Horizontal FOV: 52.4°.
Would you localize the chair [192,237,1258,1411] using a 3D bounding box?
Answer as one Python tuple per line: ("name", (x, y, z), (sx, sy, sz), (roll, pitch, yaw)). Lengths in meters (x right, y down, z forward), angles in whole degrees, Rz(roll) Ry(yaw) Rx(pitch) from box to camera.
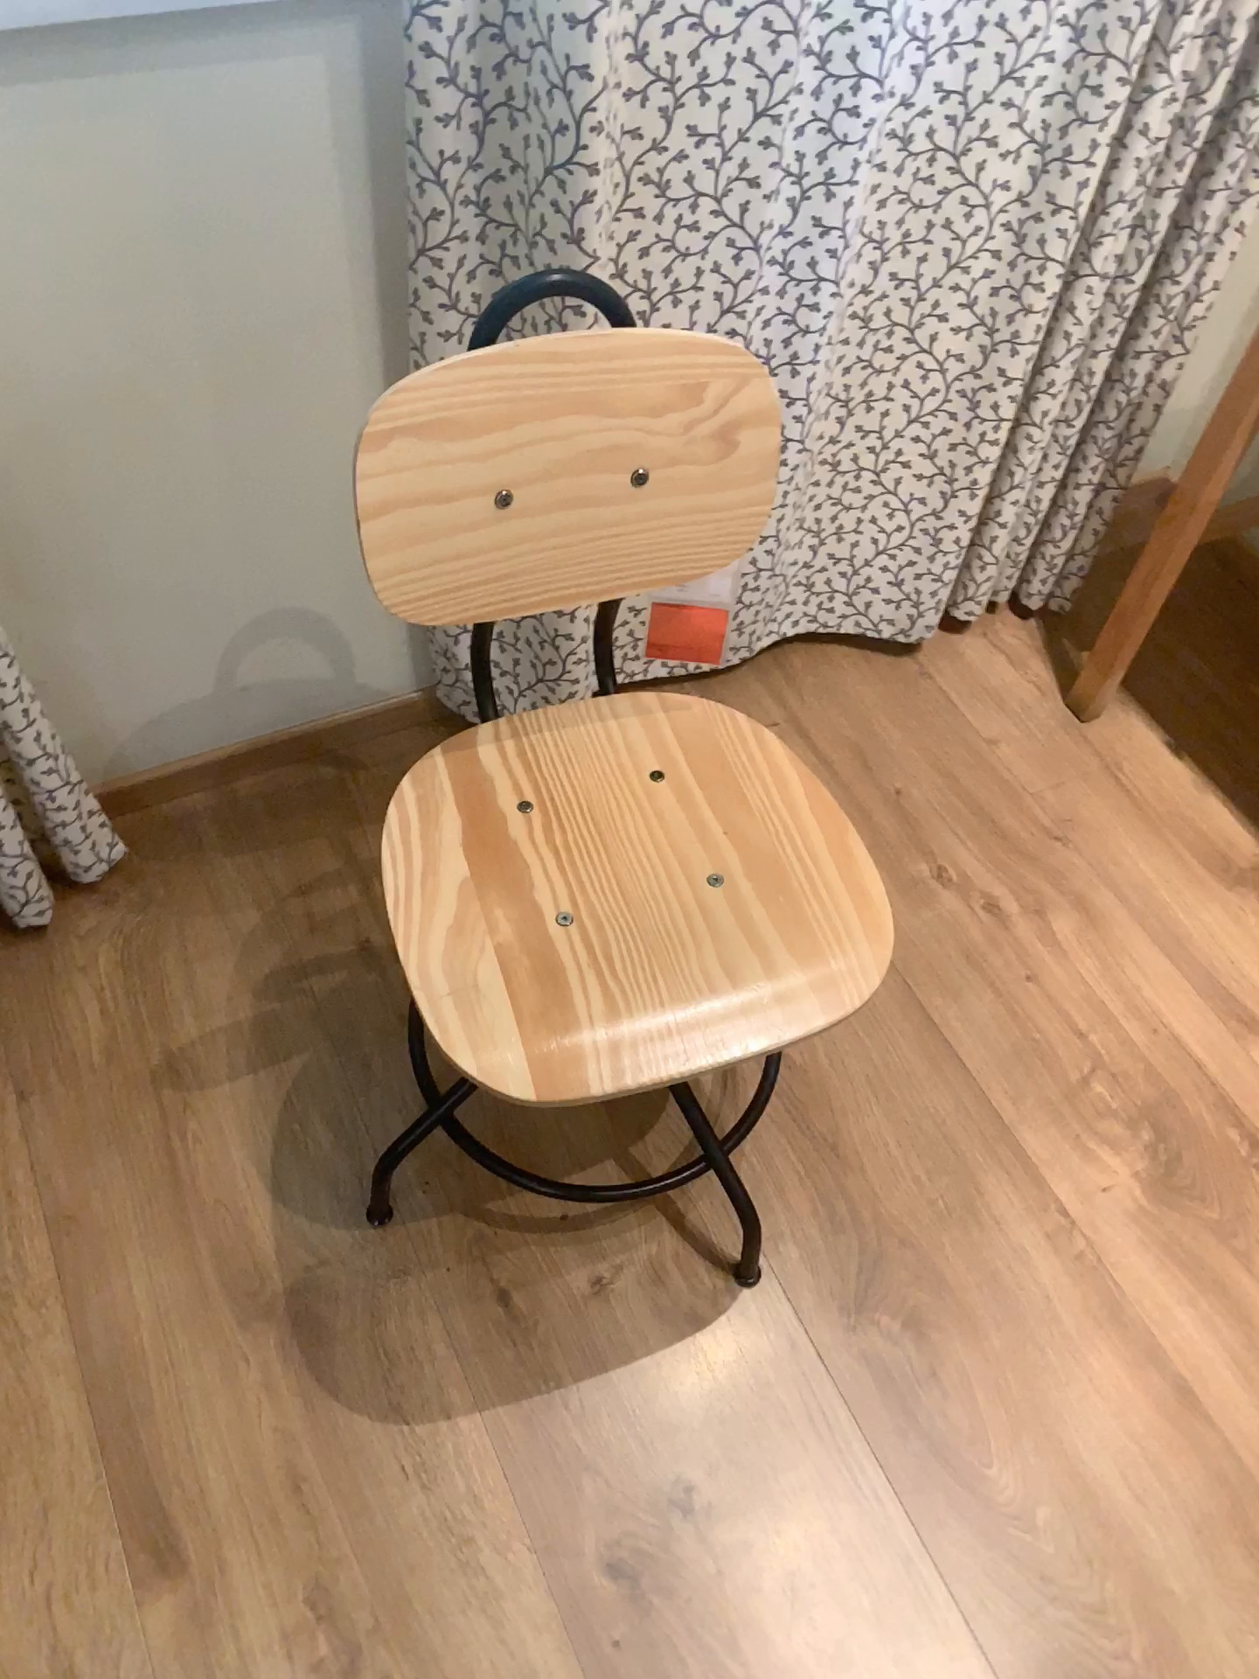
("chair", (0.001, -0.012, 1.038), (0.490, 0.598, 0.631), (-13, 55, -15))
